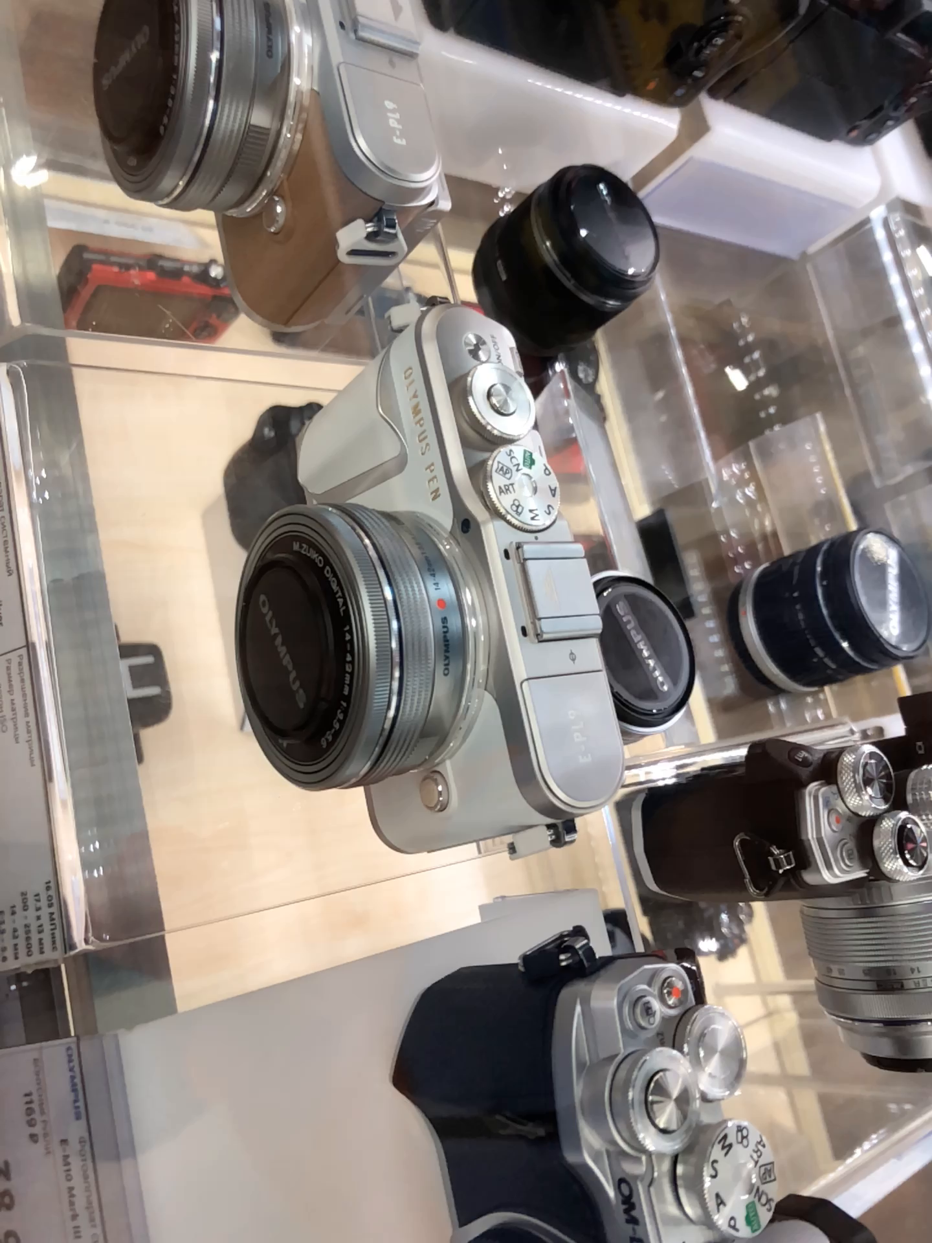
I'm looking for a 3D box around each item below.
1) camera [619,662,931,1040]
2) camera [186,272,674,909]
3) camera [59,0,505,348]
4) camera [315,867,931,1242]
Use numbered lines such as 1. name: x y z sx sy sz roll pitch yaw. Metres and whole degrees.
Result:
1. camera: 0.116 0.060 0.287 0.115 0.072 0.072 -5 75 -38
2. camera: -0.013 -0.004 0.229 0.053 0.070 0.114 -6 76 -38
3. camera: -0.047 -0.124 0.244 0.061 0.072 0.087 -6 76 -38
4. camera: 0.025 0.111 0.185 0.053 0.072 0.114 -6 76 -38
